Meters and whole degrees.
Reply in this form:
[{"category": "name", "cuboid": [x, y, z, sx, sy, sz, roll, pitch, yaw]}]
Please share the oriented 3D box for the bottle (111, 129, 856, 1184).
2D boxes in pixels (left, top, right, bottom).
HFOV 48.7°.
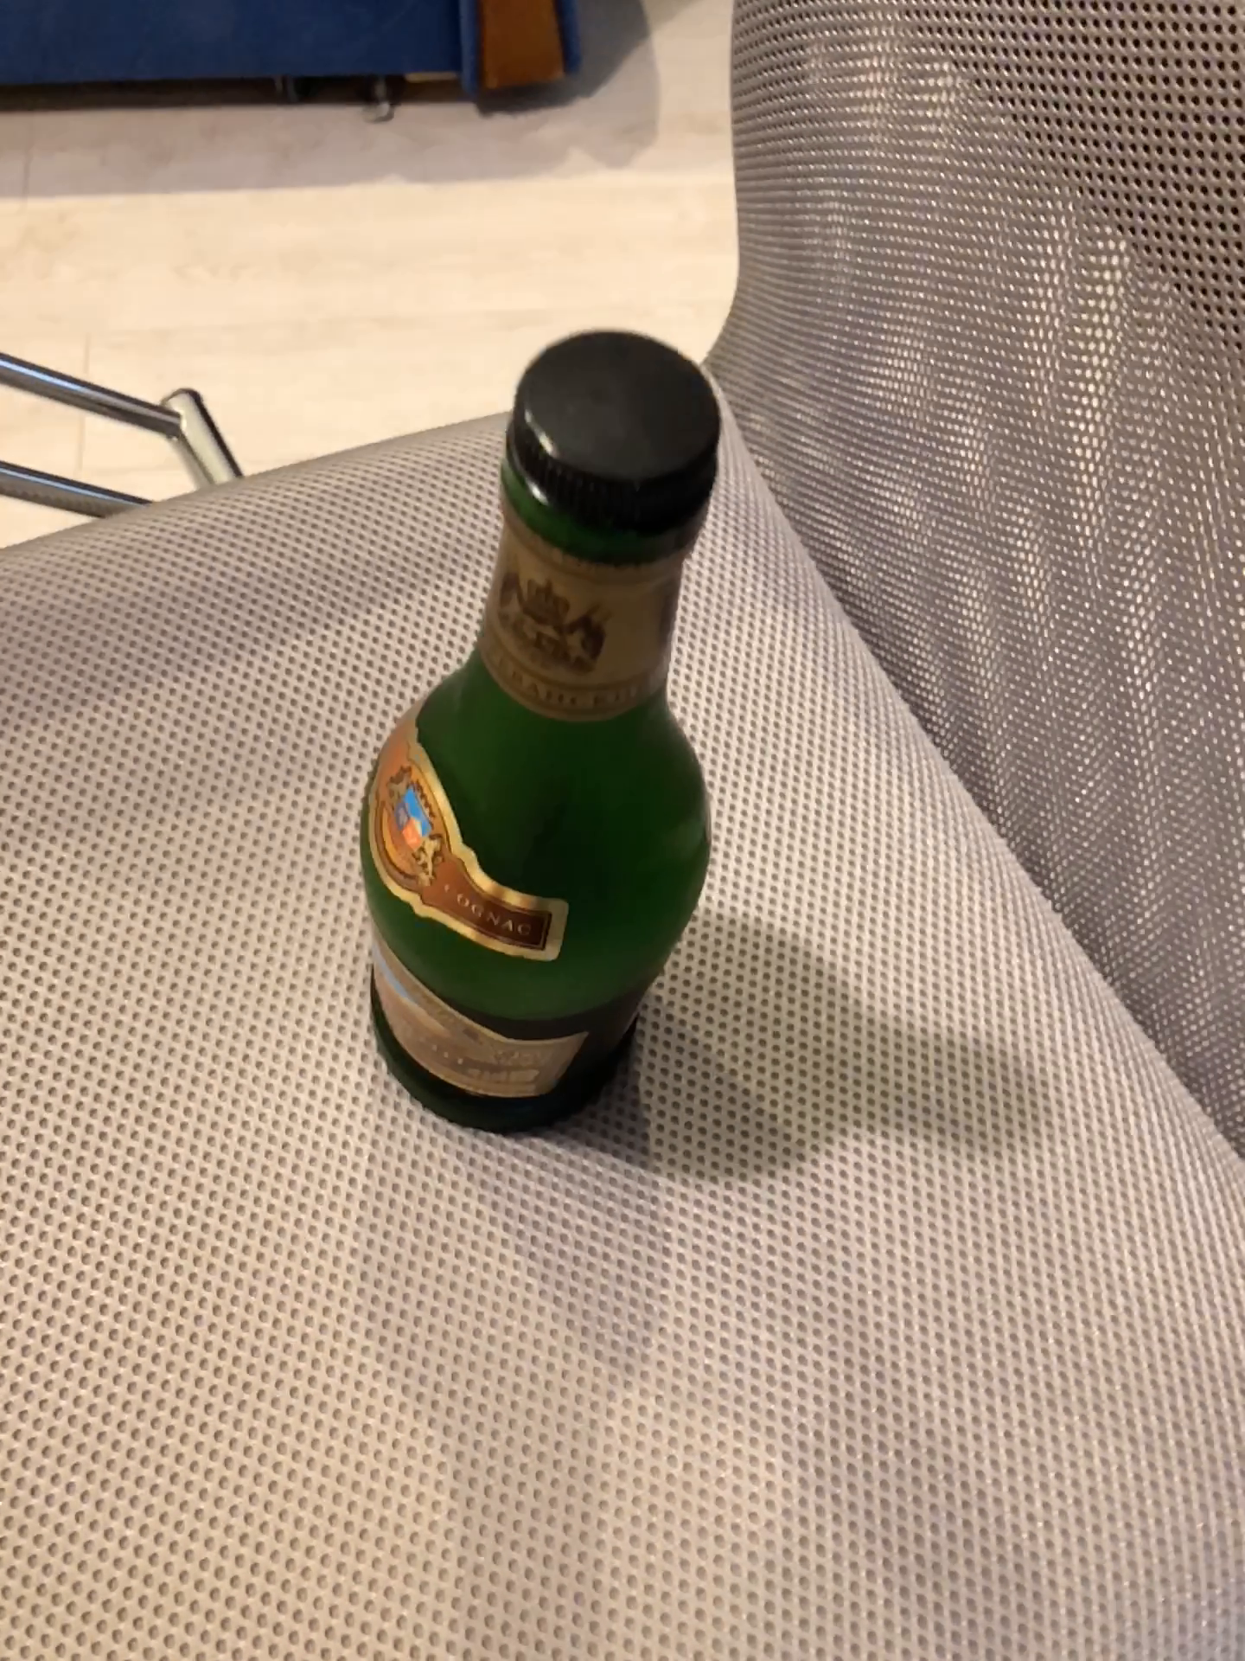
[{"category": "bottle", "cuboid": [-0.026, -0.005, 0.285, 0.074, 0.239, 0.078, 1, 63, -3]}]
